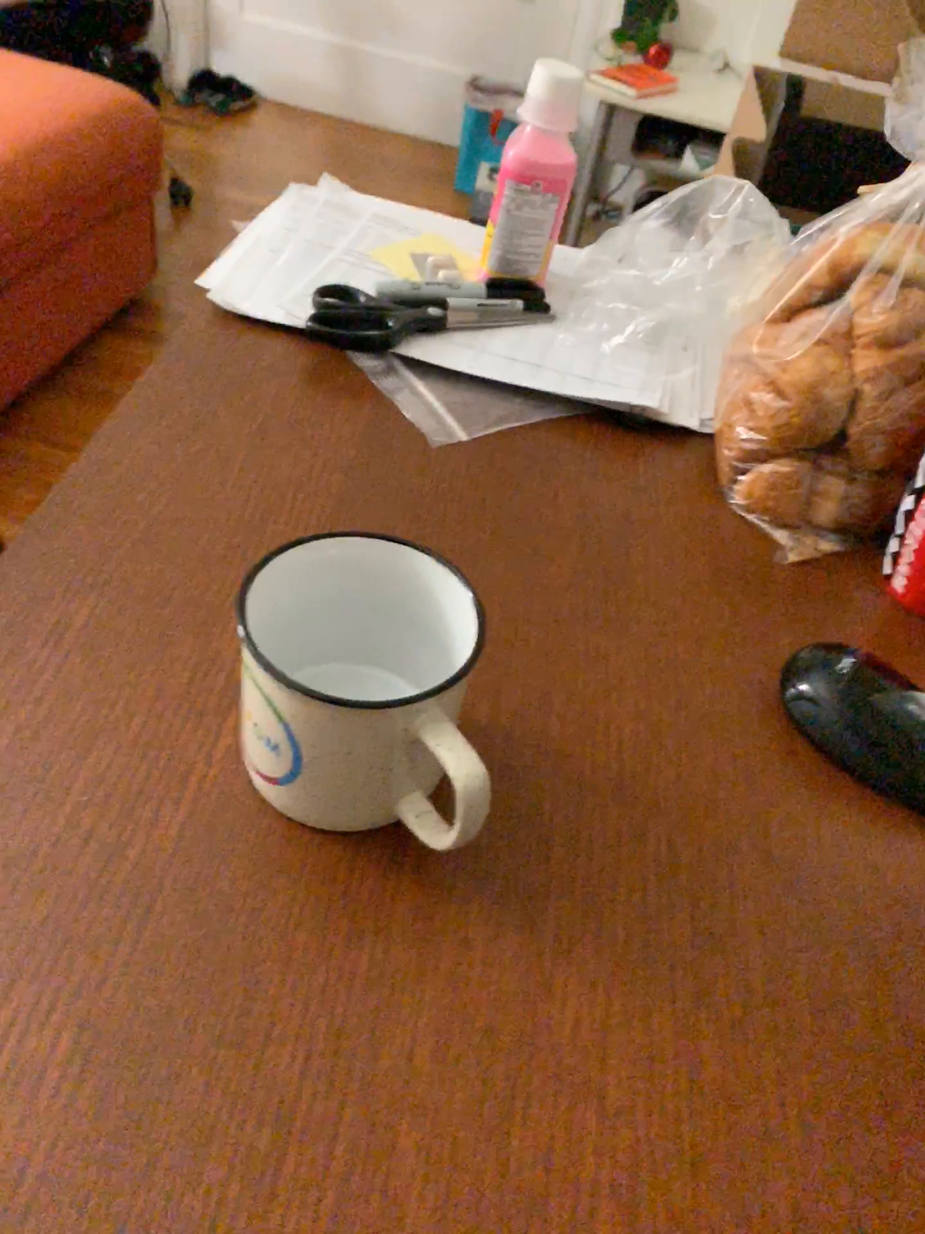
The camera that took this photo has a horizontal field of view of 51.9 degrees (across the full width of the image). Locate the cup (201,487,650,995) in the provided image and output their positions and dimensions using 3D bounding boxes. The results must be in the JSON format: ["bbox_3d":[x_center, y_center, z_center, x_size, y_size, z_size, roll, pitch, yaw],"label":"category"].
[{"bbox_3d":[-0.025,0.042,0.384,0.100,0.100,0.150,-21,53,-31],"label":"cup"}]
